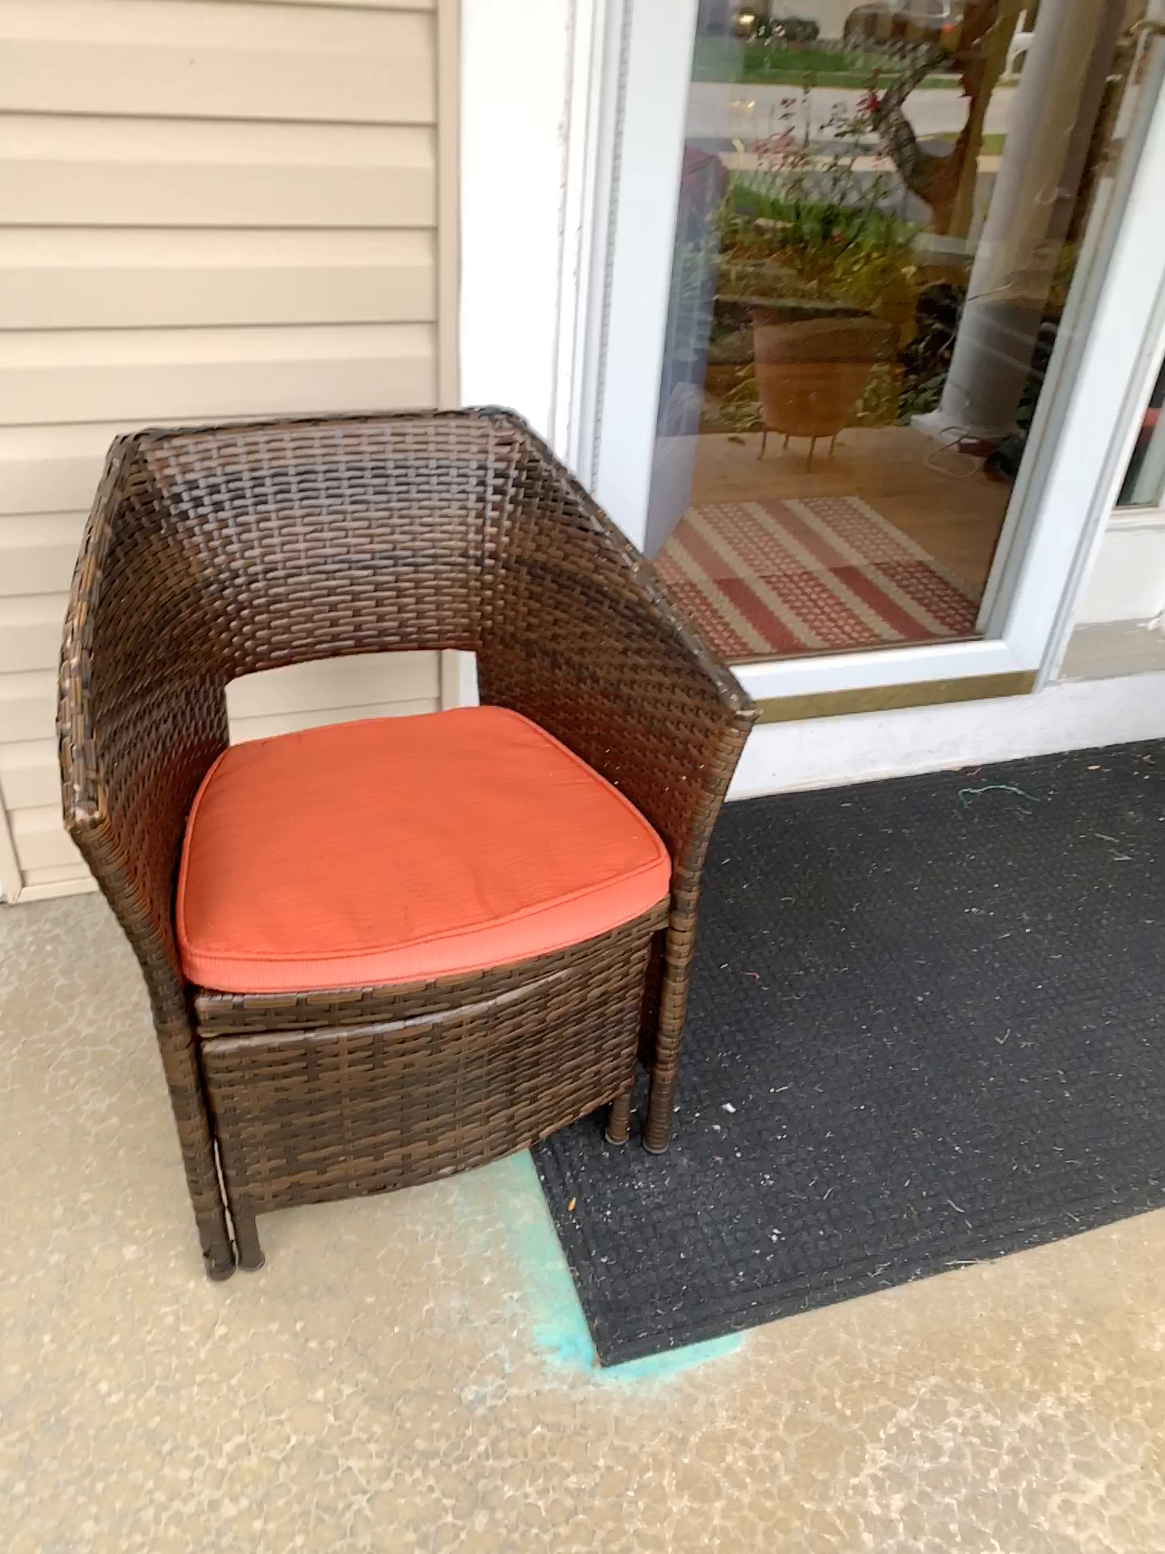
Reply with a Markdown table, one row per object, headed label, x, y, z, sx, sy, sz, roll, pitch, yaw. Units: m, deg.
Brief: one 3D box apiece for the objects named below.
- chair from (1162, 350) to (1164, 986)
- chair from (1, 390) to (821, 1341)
| label | x | y | z | sx | sy | sz | roll | pitch | yaw |
| --- | --- | --- | --- | --- | --- | --- | --- | --- | --- |
| chair | 1.510 | -0.203 | 1.886 | 0.642 | 0.757 | 0.609 | -6 | 35 | -14 |
| chair | -0.227 | 0.047 | 1.361 | 0.642 | 0.757 | 0.609 | -11 | 37 | -21 |
